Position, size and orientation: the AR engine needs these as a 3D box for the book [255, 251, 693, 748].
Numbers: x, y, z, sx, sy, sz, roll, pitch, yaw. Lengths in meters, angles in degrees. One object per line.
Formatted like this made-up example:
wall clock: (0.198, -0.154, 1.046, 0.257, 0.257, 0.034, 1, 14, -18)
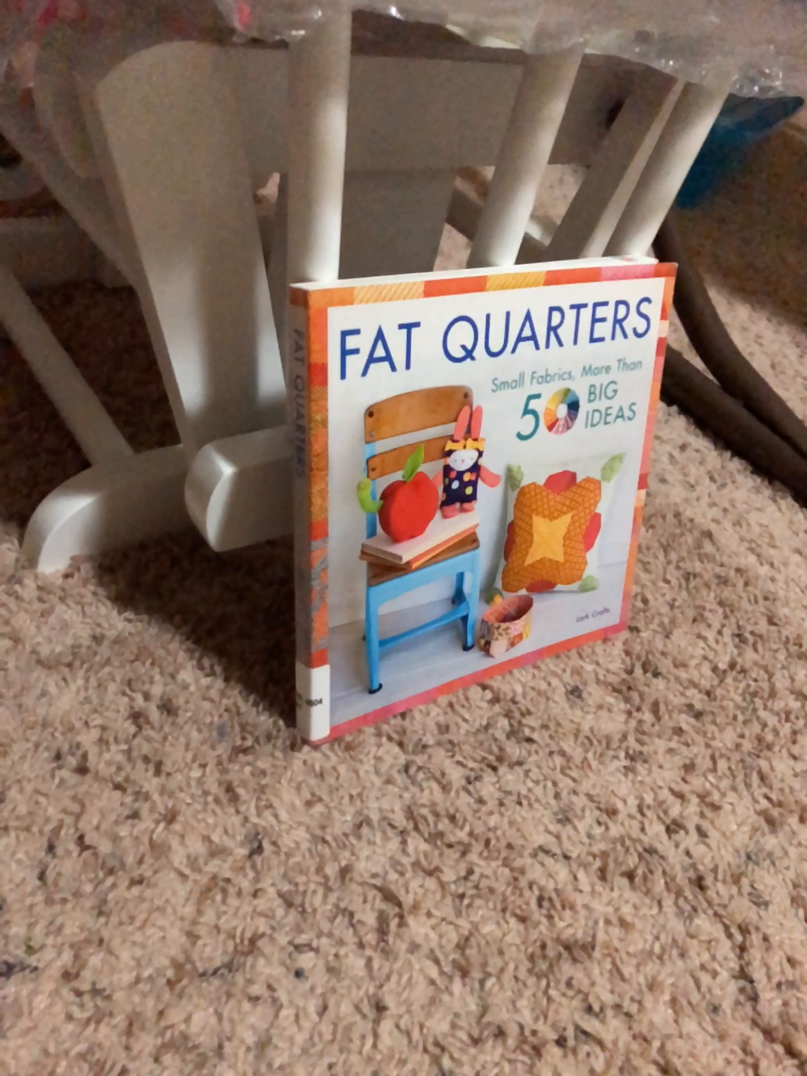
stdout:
book: (0.039, -0.025, 0.411, 0.207, 0.193, 0.030, -14, 27, -31)
